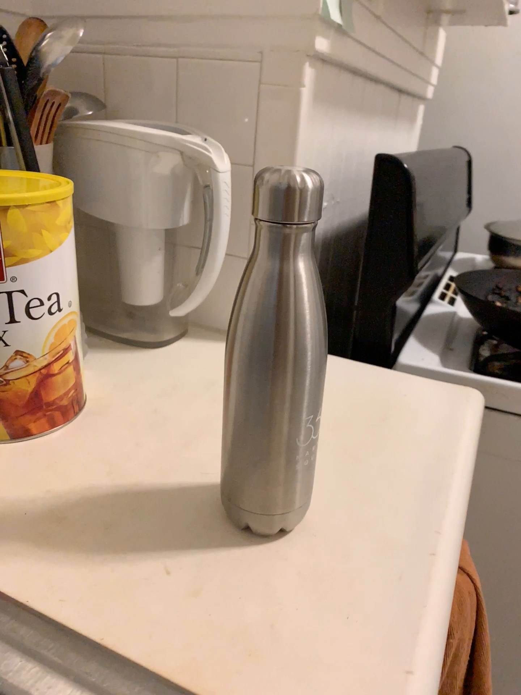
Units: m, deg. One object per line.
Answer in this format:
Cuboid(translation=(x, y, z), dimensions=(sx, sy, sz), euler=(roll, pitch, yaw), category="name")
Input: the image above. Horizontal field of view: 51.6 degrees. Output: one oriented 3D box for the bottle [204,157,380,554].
Cuboid(translation=(0.015, 0.008, 0.364), dimensions=(0.070, 0.249, 0.070), euler=(4, 24, -2), category="bottle")
